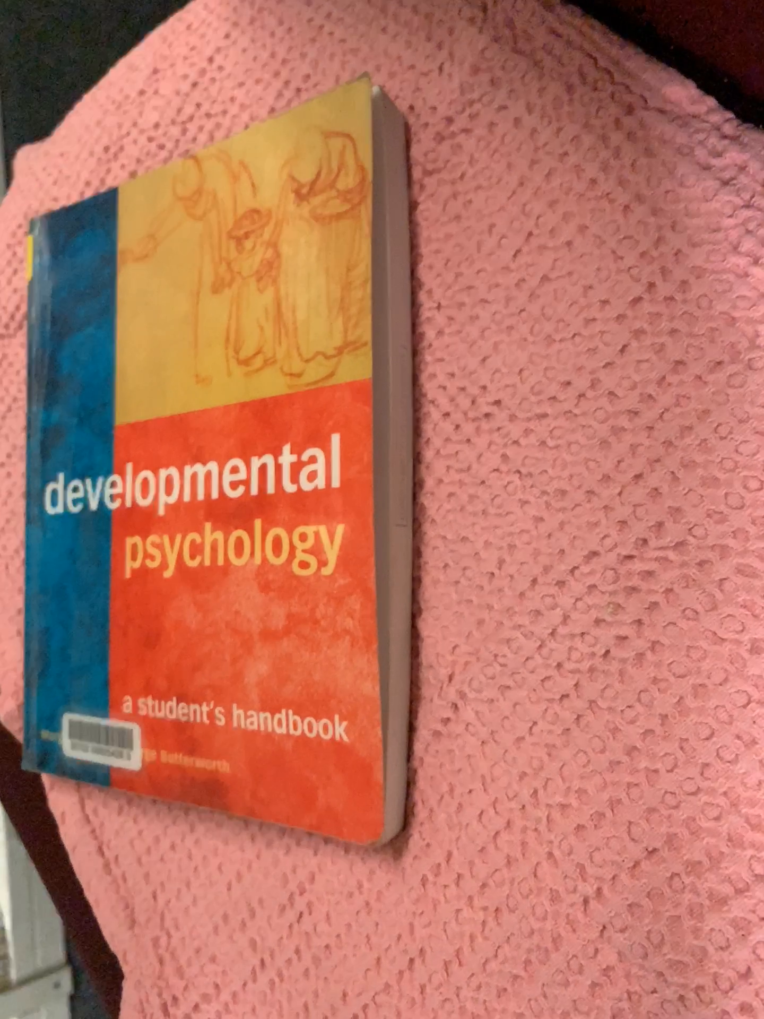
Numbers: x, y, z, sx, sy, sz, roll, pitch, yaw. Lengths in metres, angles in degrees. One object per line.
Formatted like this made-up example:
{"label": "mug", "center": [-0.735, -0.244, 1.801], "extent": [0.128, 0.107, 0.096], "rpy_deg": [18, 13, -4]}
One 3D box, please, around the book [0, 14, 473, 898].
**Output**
{"label": "book", "center": [-0.072, -0.015, 0.305], "extent": [0.211, 0.040, 0.260], "rpy_deg": [-5, 82, 32]}
